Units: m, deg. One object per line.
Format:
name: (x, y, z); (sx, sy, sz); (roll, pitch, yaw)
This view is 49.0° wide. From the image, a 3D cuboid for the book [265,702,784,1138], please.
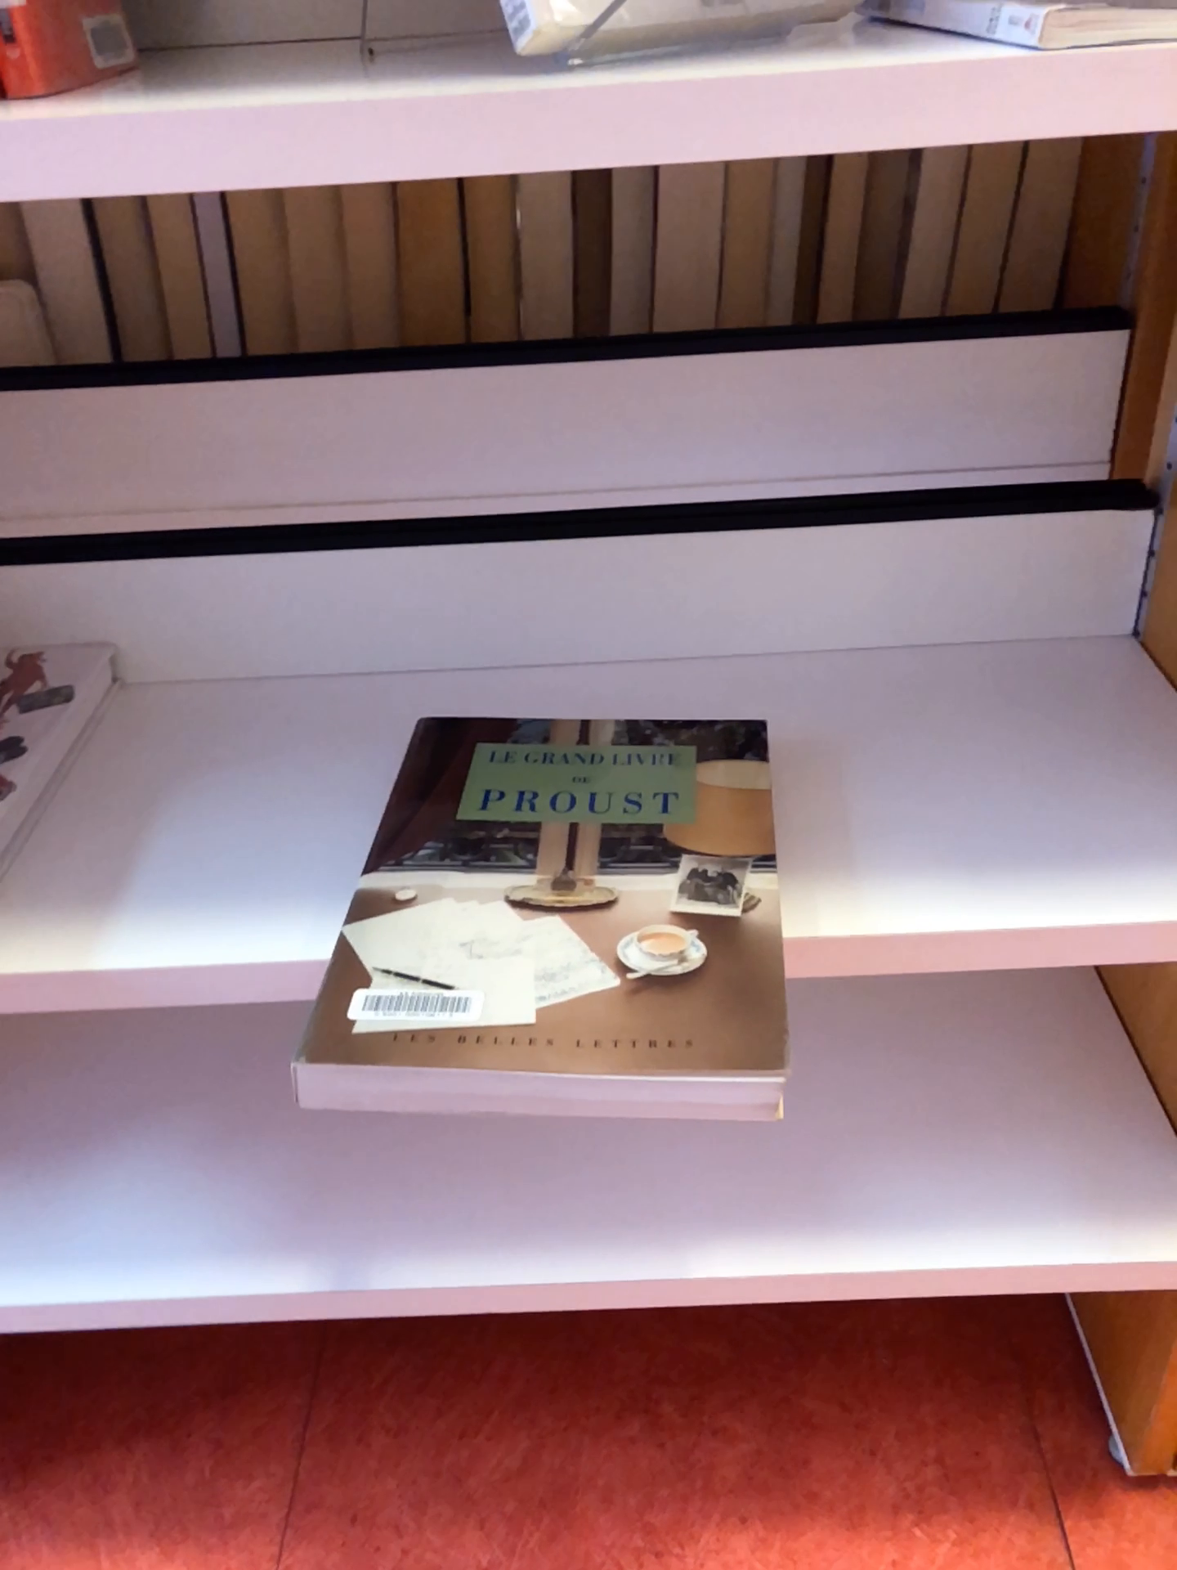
book: (-0.012, 0.041, 0.552); (0.180, 0.030, 0.246); (0, 34, 6)
